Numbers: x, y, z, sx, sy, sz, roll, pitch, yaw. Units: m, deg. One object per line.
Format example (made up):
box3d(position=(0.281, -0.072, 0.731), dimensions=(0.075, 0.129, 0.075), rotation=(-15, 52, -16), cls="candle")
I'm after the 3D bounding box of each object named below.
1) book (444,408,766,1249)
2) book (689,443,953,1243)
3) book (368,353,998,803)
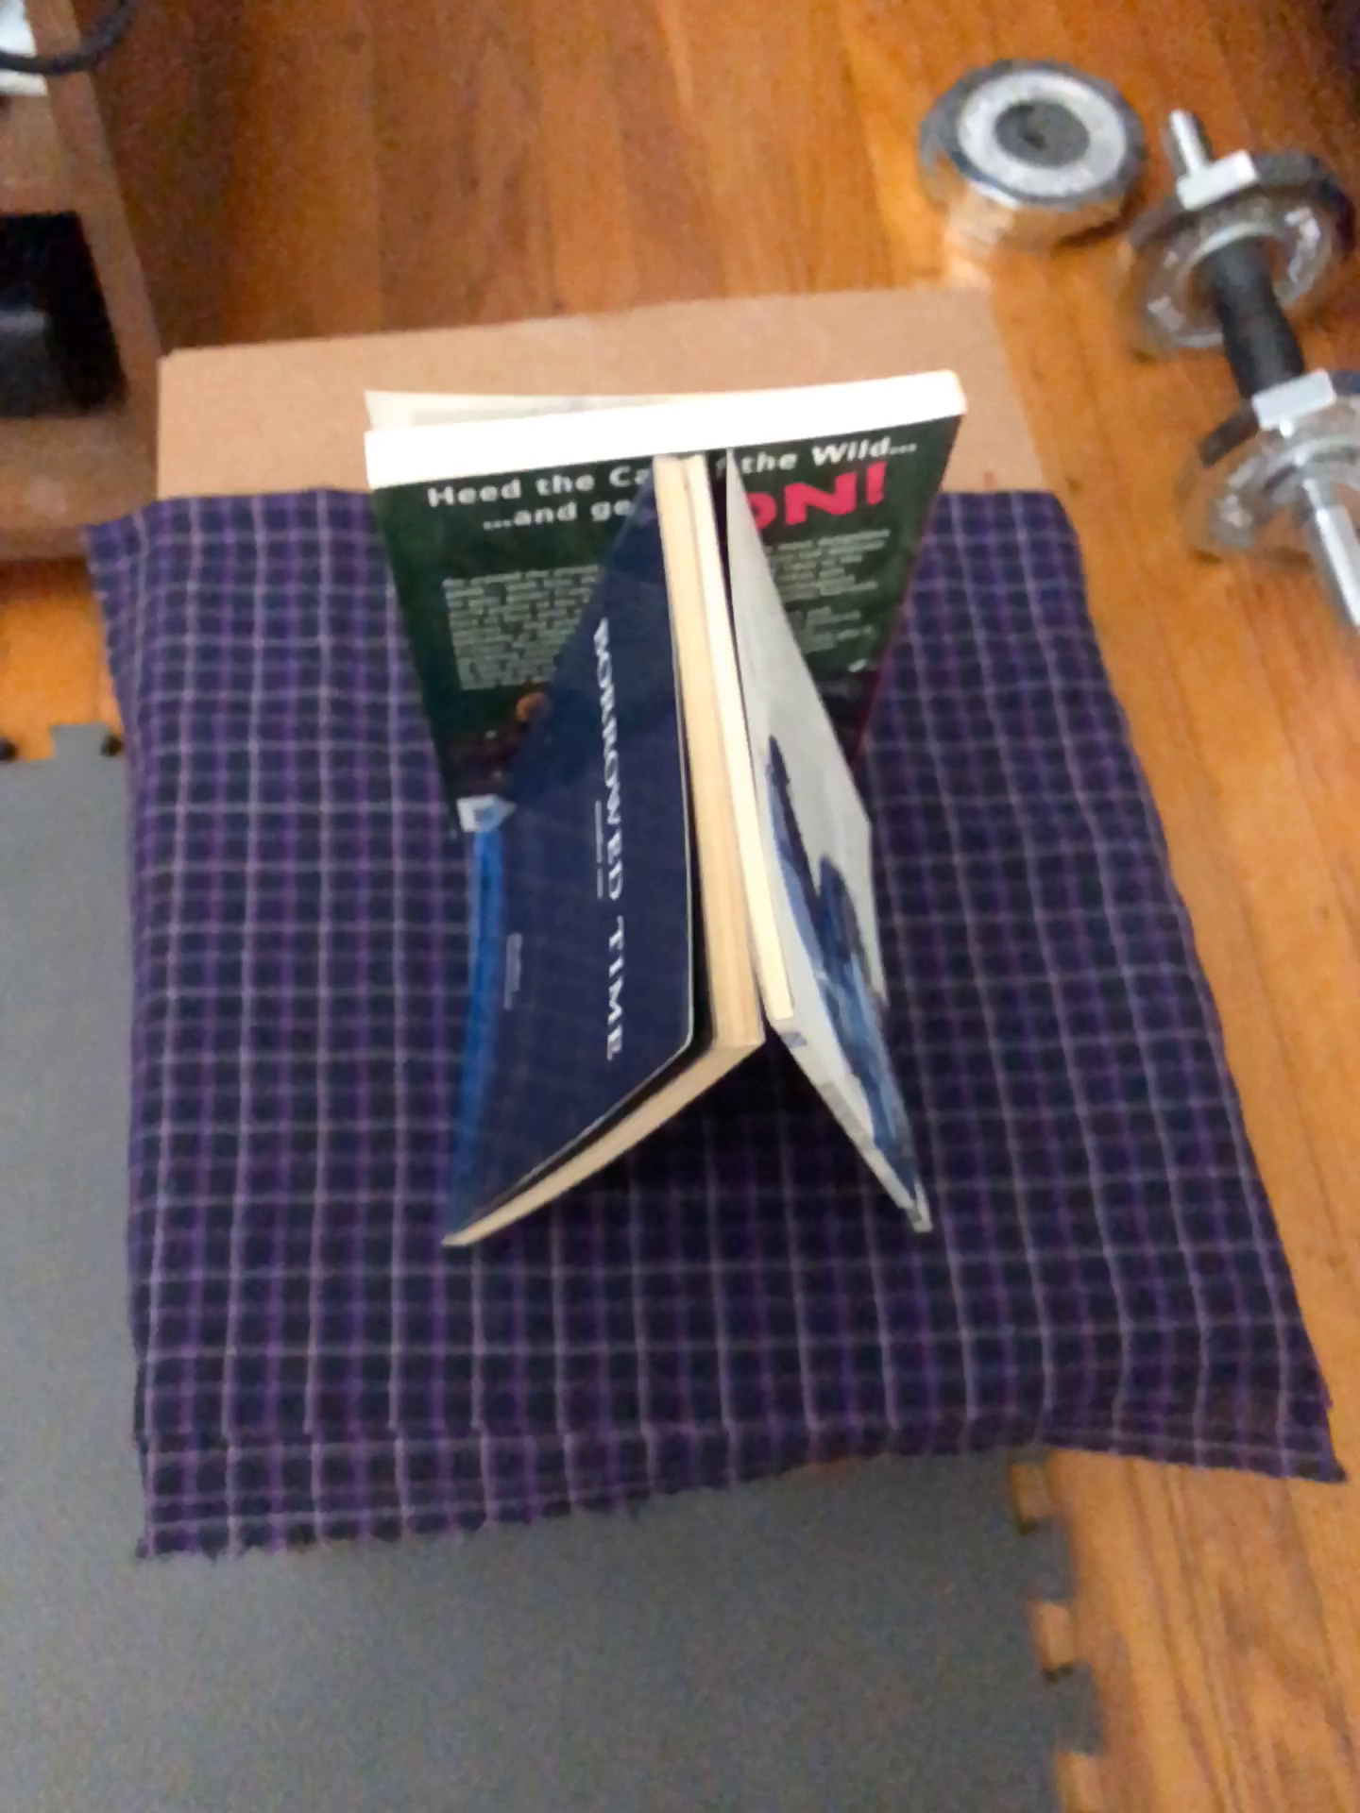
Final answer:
box3d(position=(-0.031, -0.005, 0.399), dimensions=(0.010, 0.199, 0.150), rotation=(7, 64, -22), cls="book")
box3d(position=(0.042, -0.001, 0.398), dimensions=(0.010, 0.199, 0.140), rotation=(-13, 64, 12), cls="book")
box3d(position=(-0.004, -0.081, 0.429), dimensions=(0.140, 0.189, 0.020), rotation=(-6, 72, -5), cls="book")
